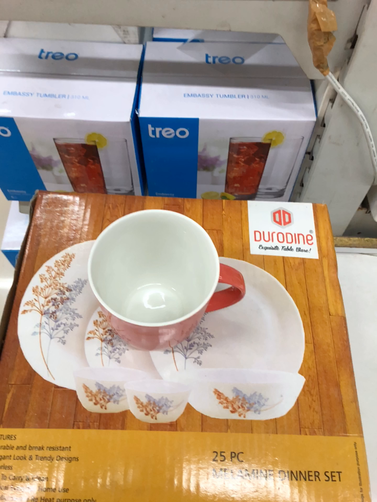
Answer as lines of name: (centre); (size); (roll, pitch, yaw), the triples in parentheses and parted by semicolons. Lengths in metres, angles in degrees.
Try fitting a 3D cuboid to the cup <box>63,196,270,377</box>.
cup: (-0.010, 0.030, 0.308); (0.120, 0.100, 0.090); (4, 60, 2)
